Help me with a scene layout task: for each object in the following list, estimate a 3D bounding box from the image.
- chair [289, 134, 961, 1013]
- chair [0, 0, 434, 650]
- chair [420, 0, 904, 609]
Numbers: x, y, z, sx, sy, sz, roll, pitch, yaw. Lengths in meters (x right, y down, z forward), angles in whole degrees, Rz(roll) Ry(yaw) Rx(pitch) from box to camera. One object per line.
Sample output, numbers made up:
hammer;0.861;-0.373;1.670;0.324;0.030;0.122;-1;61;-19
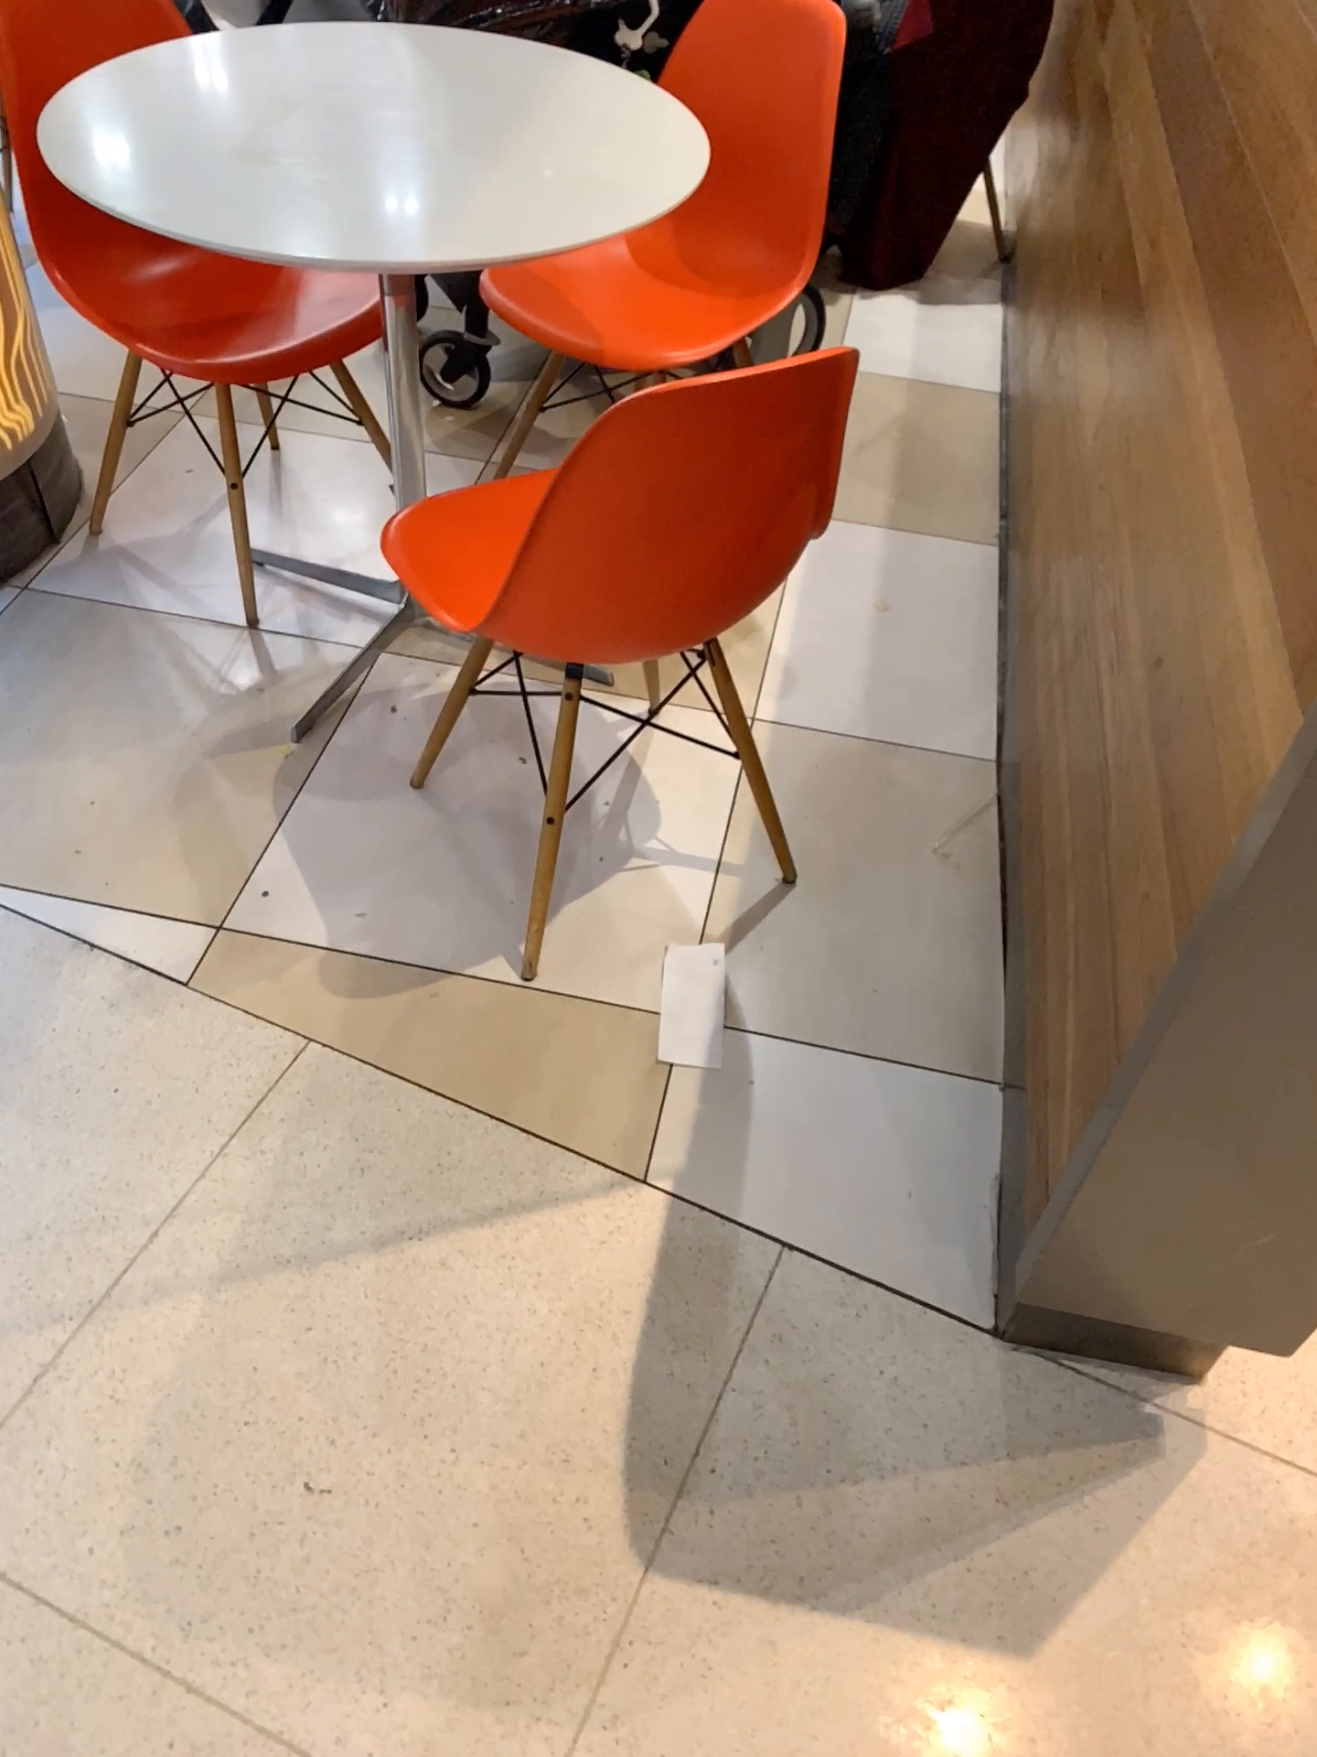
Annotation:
chair;-0.074;-0.341;1.538;0.449;0.742;0.524;-19;51;-22
chair;-0.694;-0.854;1.990;0.512;0.762;0.450;29;50;21
chair;-0.009;-0.939;2.130;0.449;0.742;0.524;32;51;23
